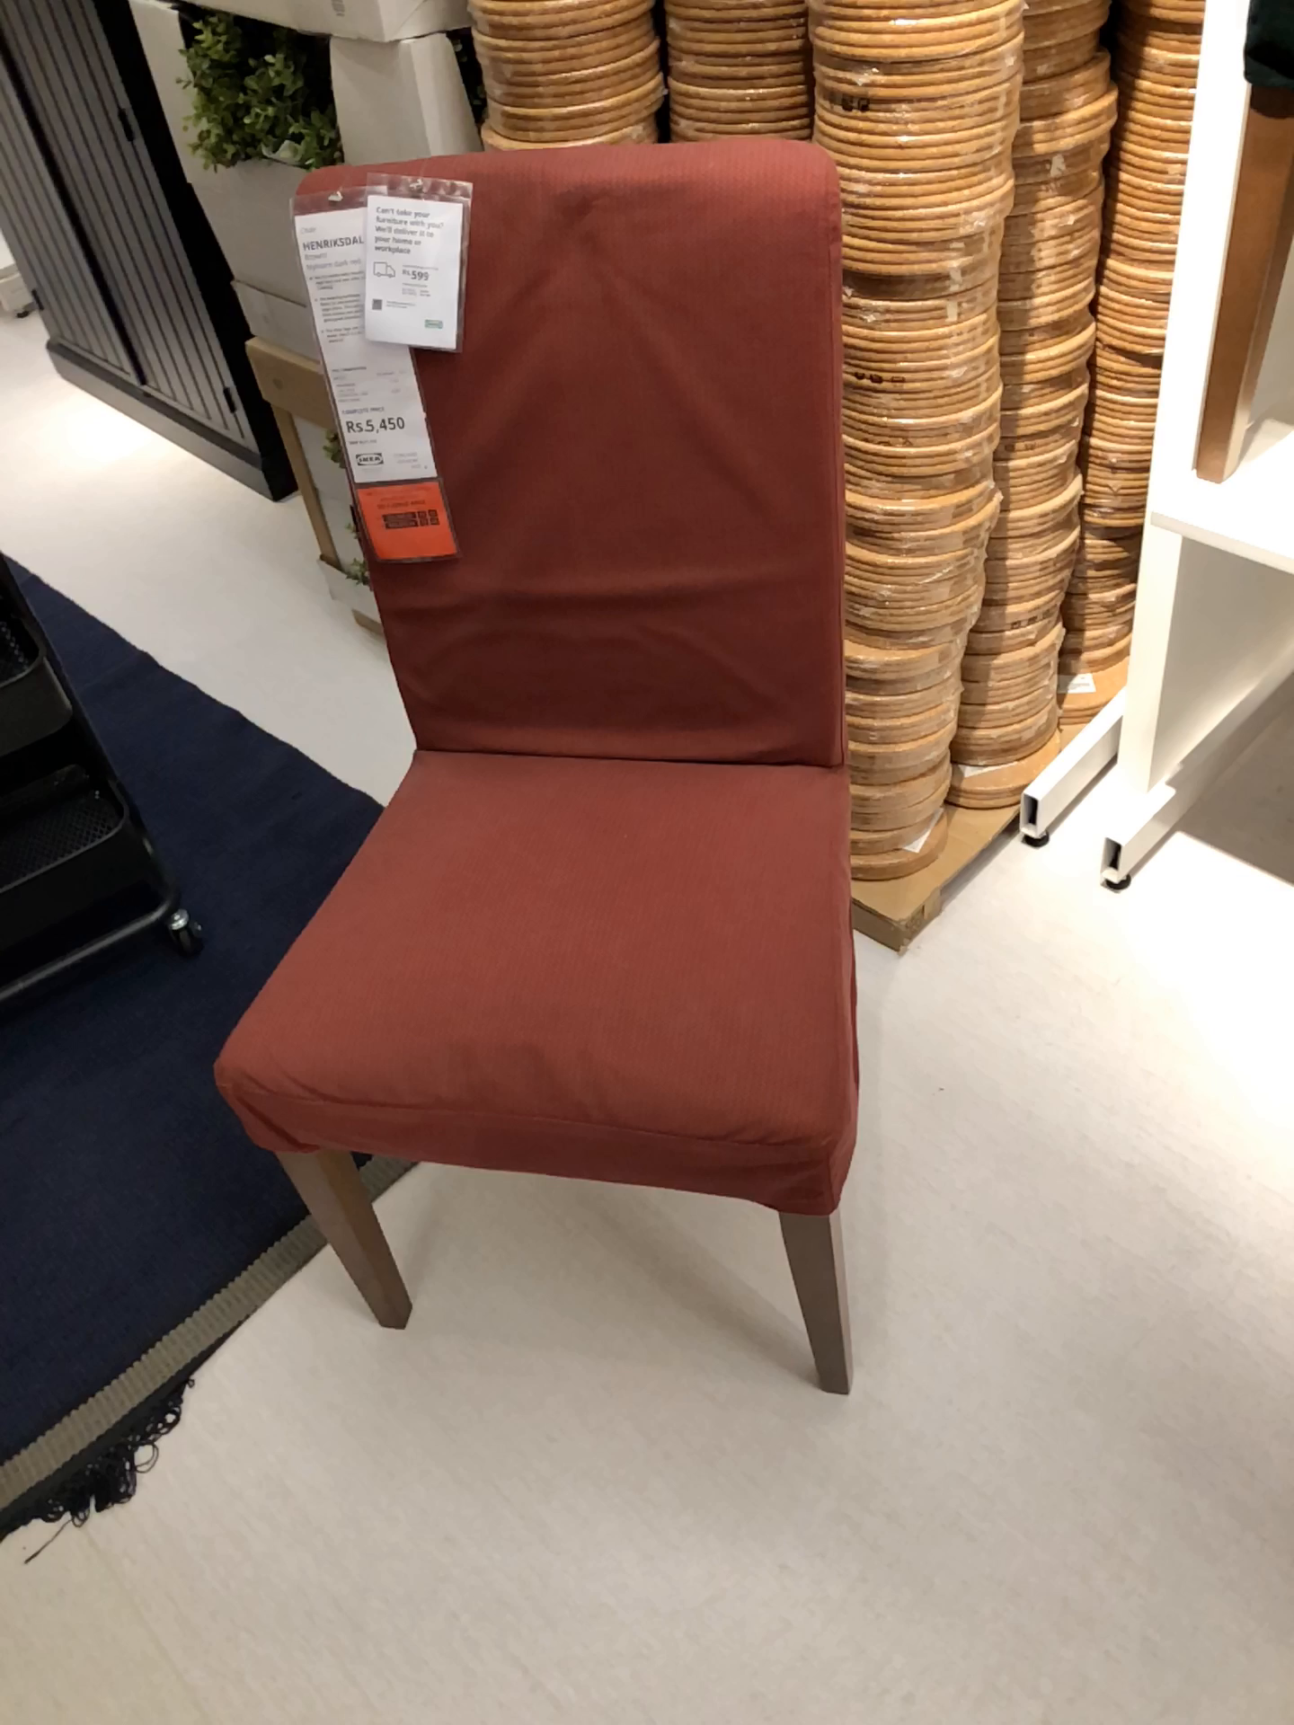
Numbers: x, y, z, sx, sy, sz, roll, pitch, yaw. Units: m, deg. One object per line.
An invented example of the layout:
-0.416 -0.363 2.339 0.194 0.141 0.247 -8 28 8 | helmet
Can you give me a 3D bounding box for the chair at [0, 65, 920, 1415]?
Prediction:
-0.054 -0.033 1.223 0.520 0.994 0.533 4 47 15 | chair
